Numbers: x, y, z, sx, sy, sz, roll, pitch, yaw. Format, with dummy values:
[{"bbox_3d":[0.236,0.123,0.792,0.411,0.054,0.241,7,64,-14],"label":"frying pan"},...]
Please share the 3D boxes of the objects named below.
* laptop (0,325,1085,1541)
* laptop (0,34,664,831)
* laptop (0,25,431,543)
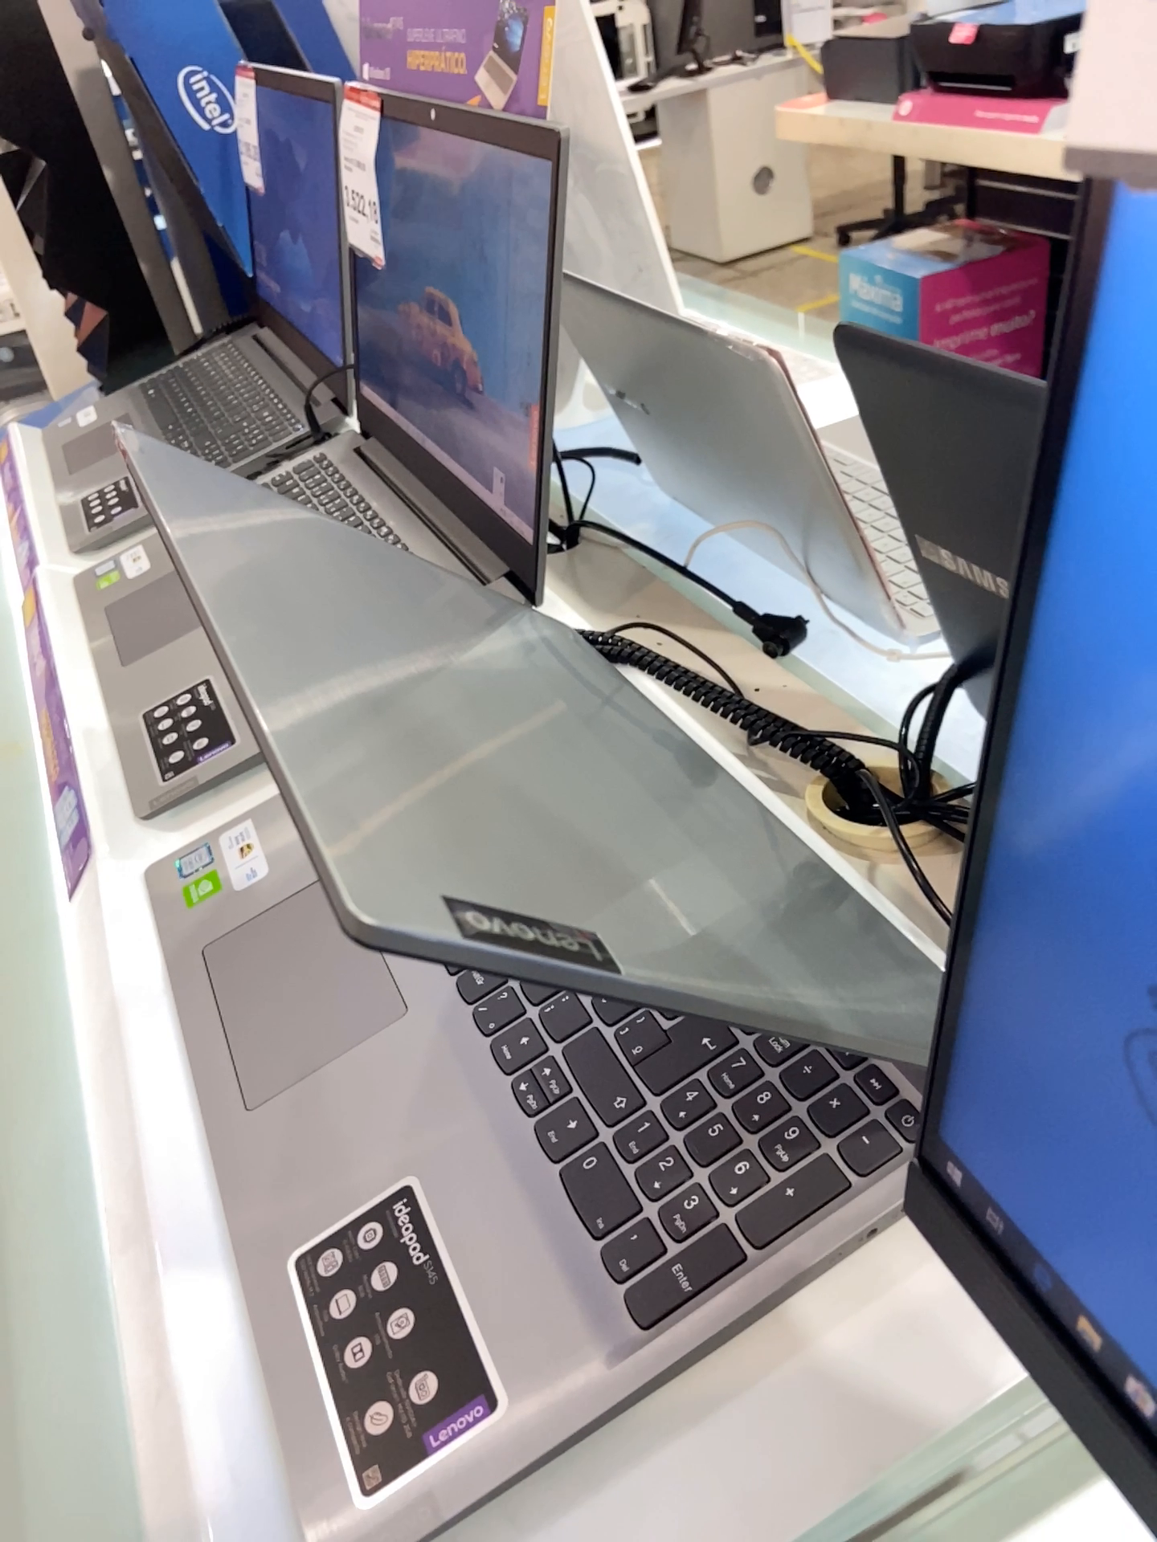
[{"bbox_3d":[-0.054,0.010,0.429,0.241,0.163,0.361,-29,38,-11],"label":"laptop"},{"bbox_3d":[-0.185,-0.245,0.738,0.351,0.224,0.348,-30,40,-12],"label":"laptop"},{"bbox_3d":[-0.402,-0.506,1.195,0.386,0.260,0.311,-29,42,-13],"label":"laptop"}]
